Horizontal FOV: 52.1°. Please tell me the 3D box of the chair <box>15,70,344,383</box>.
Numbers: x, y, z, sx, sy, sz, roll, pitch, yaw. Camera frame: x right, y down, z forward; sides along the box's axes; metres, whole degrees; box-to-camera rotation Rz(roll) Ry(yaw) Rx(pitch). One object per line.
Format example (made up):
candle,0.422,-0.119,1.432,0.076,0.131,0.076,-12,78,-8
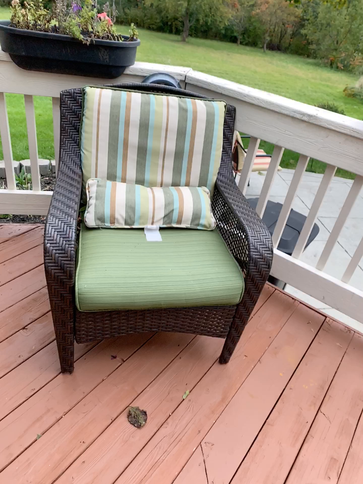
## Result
chair,-0.091,-0.108,1.465,0.811,0.824,0.864,1,34,-12
